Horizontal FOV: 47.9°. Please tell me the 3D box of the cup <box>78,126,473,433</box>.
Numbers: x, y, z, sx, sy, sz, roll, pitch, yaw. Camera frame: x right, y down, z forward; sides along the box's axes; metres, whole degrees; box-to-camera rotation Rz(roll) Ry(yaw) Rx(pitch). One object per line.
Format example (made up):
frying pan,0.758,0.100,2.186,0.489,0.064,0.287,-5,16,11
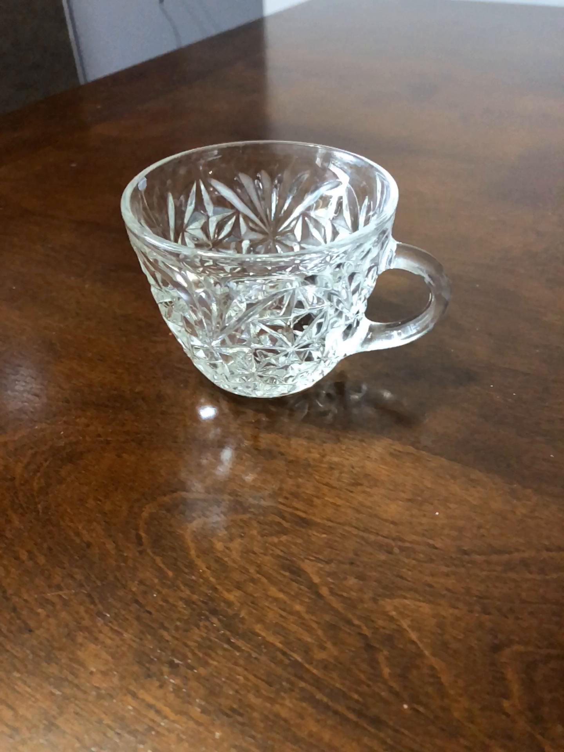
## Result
cup,0.003,-0.036,0.205,0.100,0.060,0.070,9,40,14
